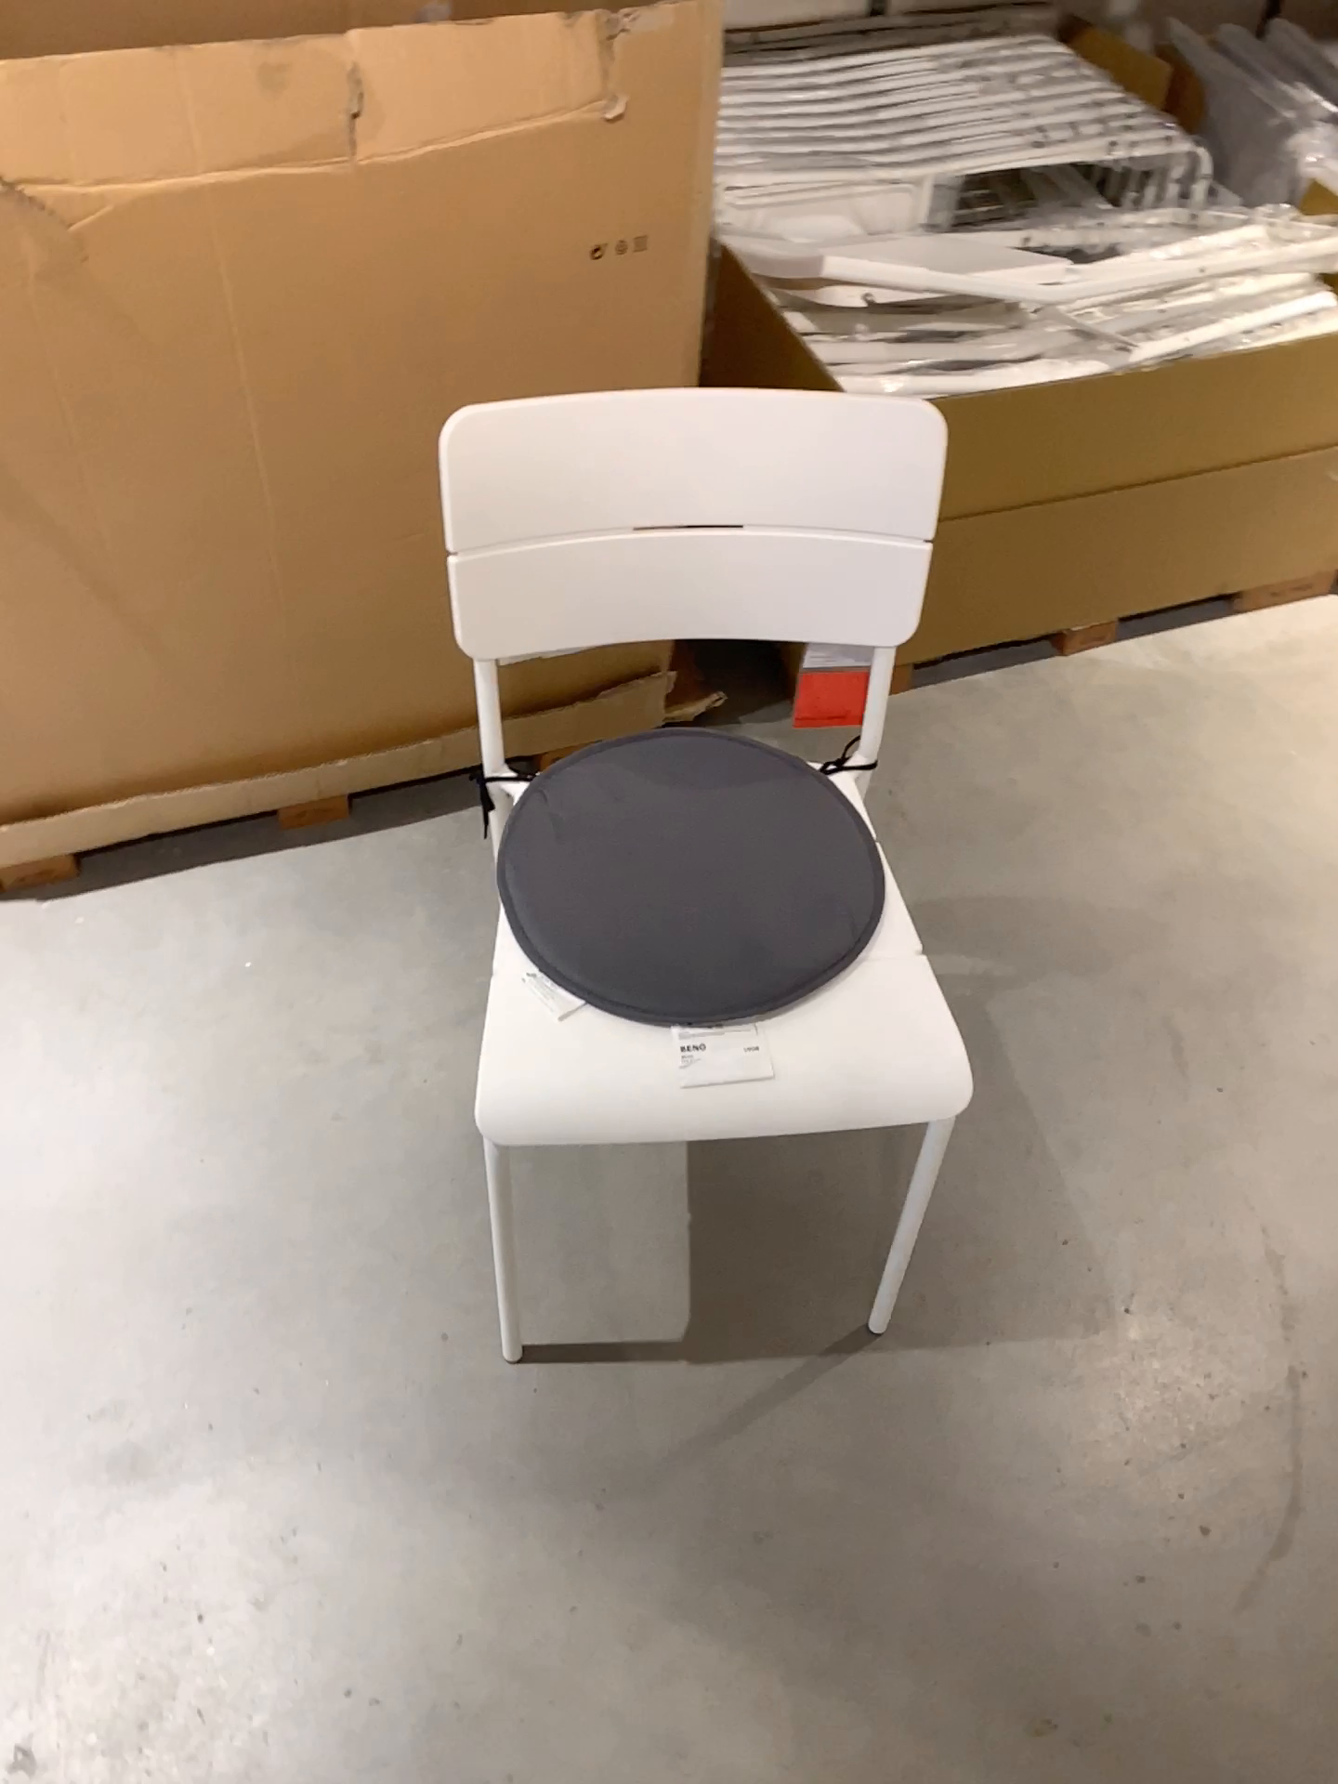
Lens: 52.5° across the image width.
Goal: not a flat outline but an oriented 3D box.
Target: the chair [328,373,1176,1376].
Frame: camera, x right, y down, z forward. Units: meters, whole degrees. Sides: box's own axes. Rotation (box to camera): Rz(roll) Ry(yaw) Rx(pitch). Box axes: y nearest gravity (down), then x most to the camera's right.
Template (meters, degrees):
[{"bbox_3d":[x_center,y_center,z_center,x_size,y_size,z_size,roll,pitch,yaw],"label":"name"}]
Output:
[{"bbox_3d":[0.017,0.020,1.161,0.460,0.718,0.491,-2,50,-5],"label":"chair"}]
